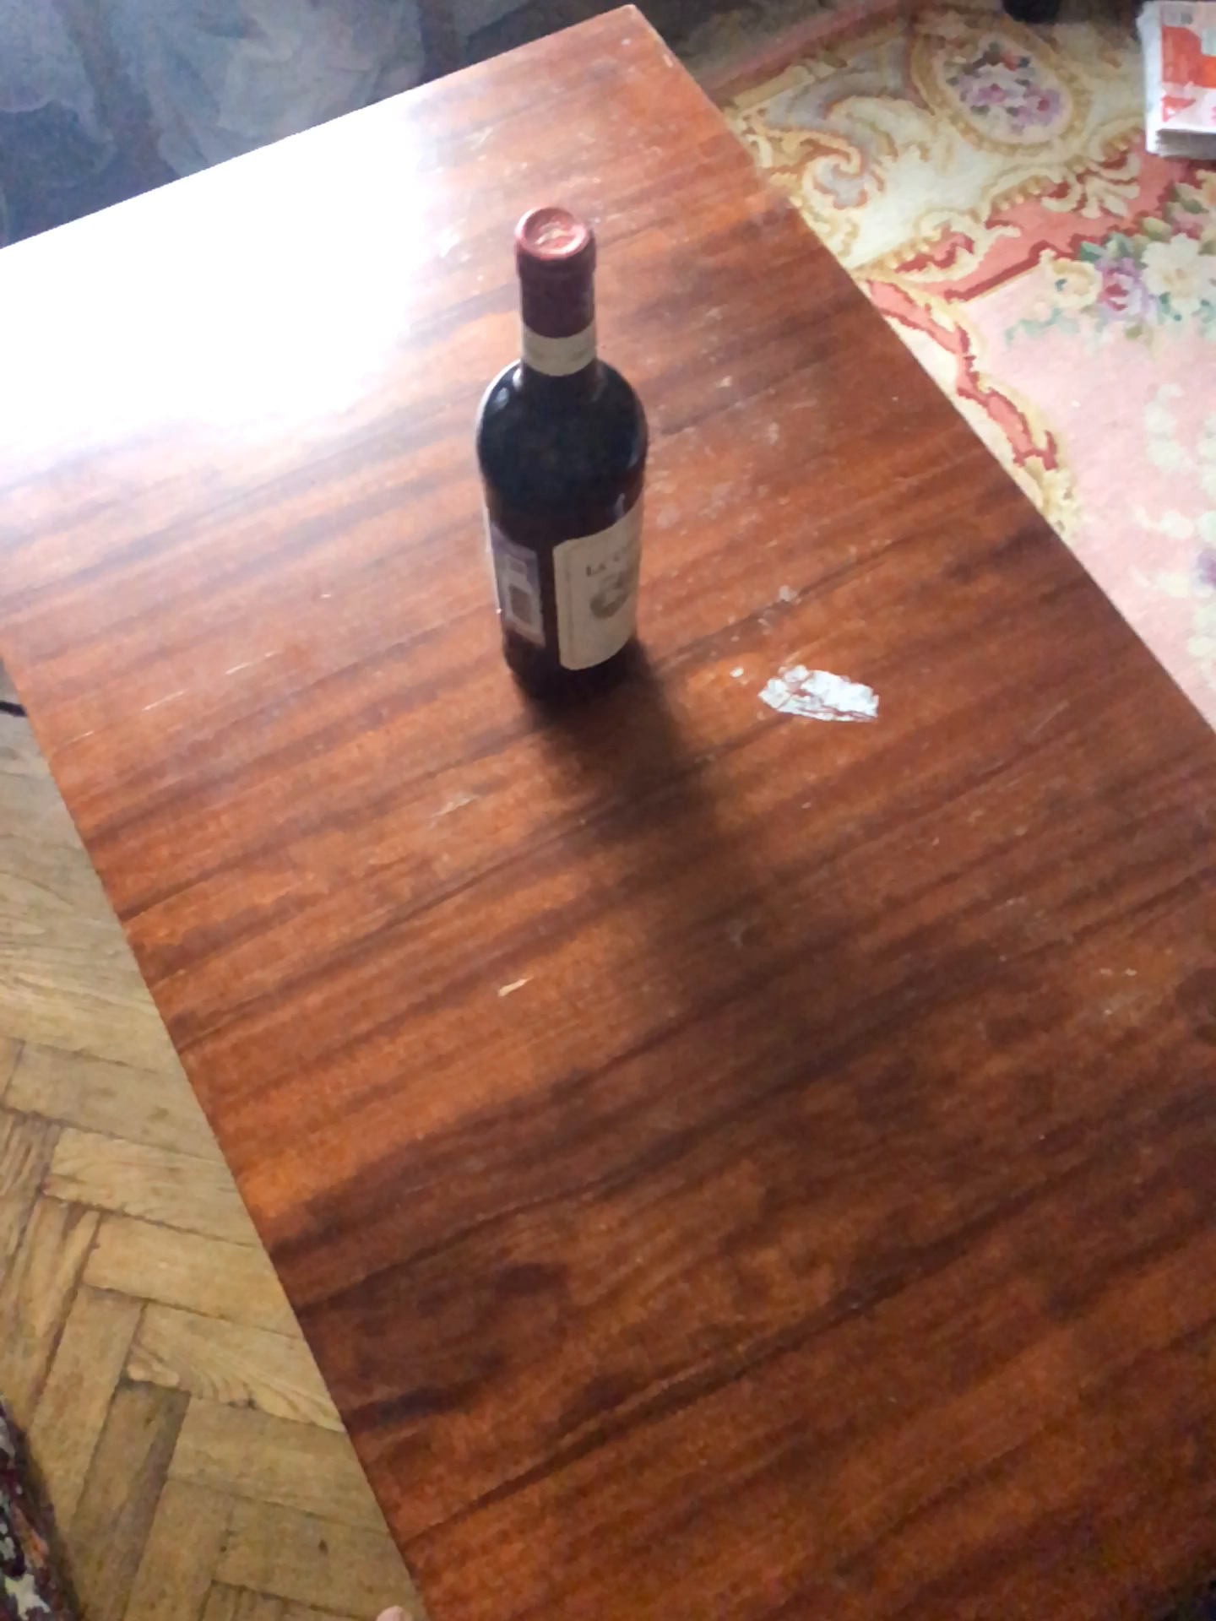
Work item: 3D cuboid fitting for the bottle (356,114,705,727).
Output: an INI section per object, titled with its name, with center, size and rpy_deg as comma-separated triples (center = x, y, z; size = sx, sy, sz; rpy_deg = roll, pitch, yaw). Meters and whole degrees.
[bottle]
center = -0.023, -0.146, 0.580
size = 0.090, 0.269, 0.090
rpy_deg = 0, 69, 1
